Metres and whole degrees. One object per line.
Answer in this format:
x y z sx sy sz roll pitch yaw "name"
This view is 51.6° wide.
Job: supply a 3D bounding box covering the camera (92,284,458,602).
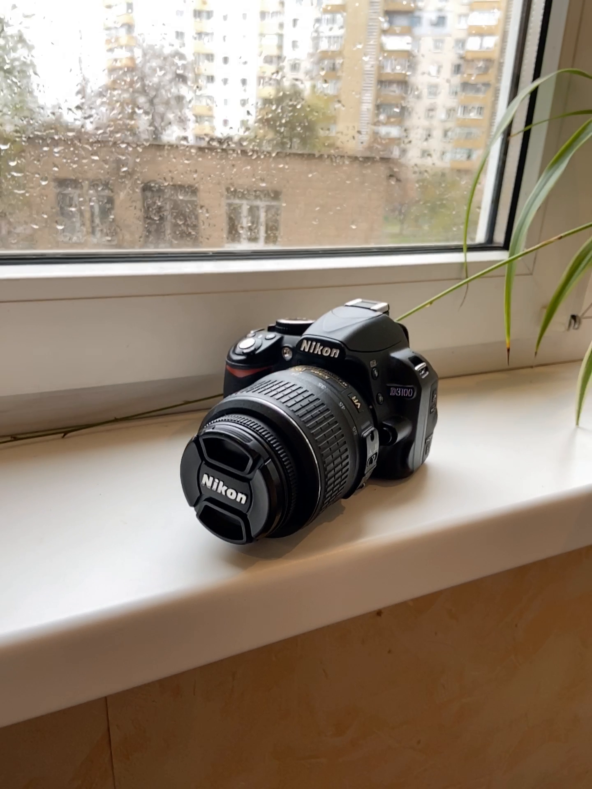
-0.002 0.007 0.331 0.122 0.092 0.159 15 24 28 "camera"
